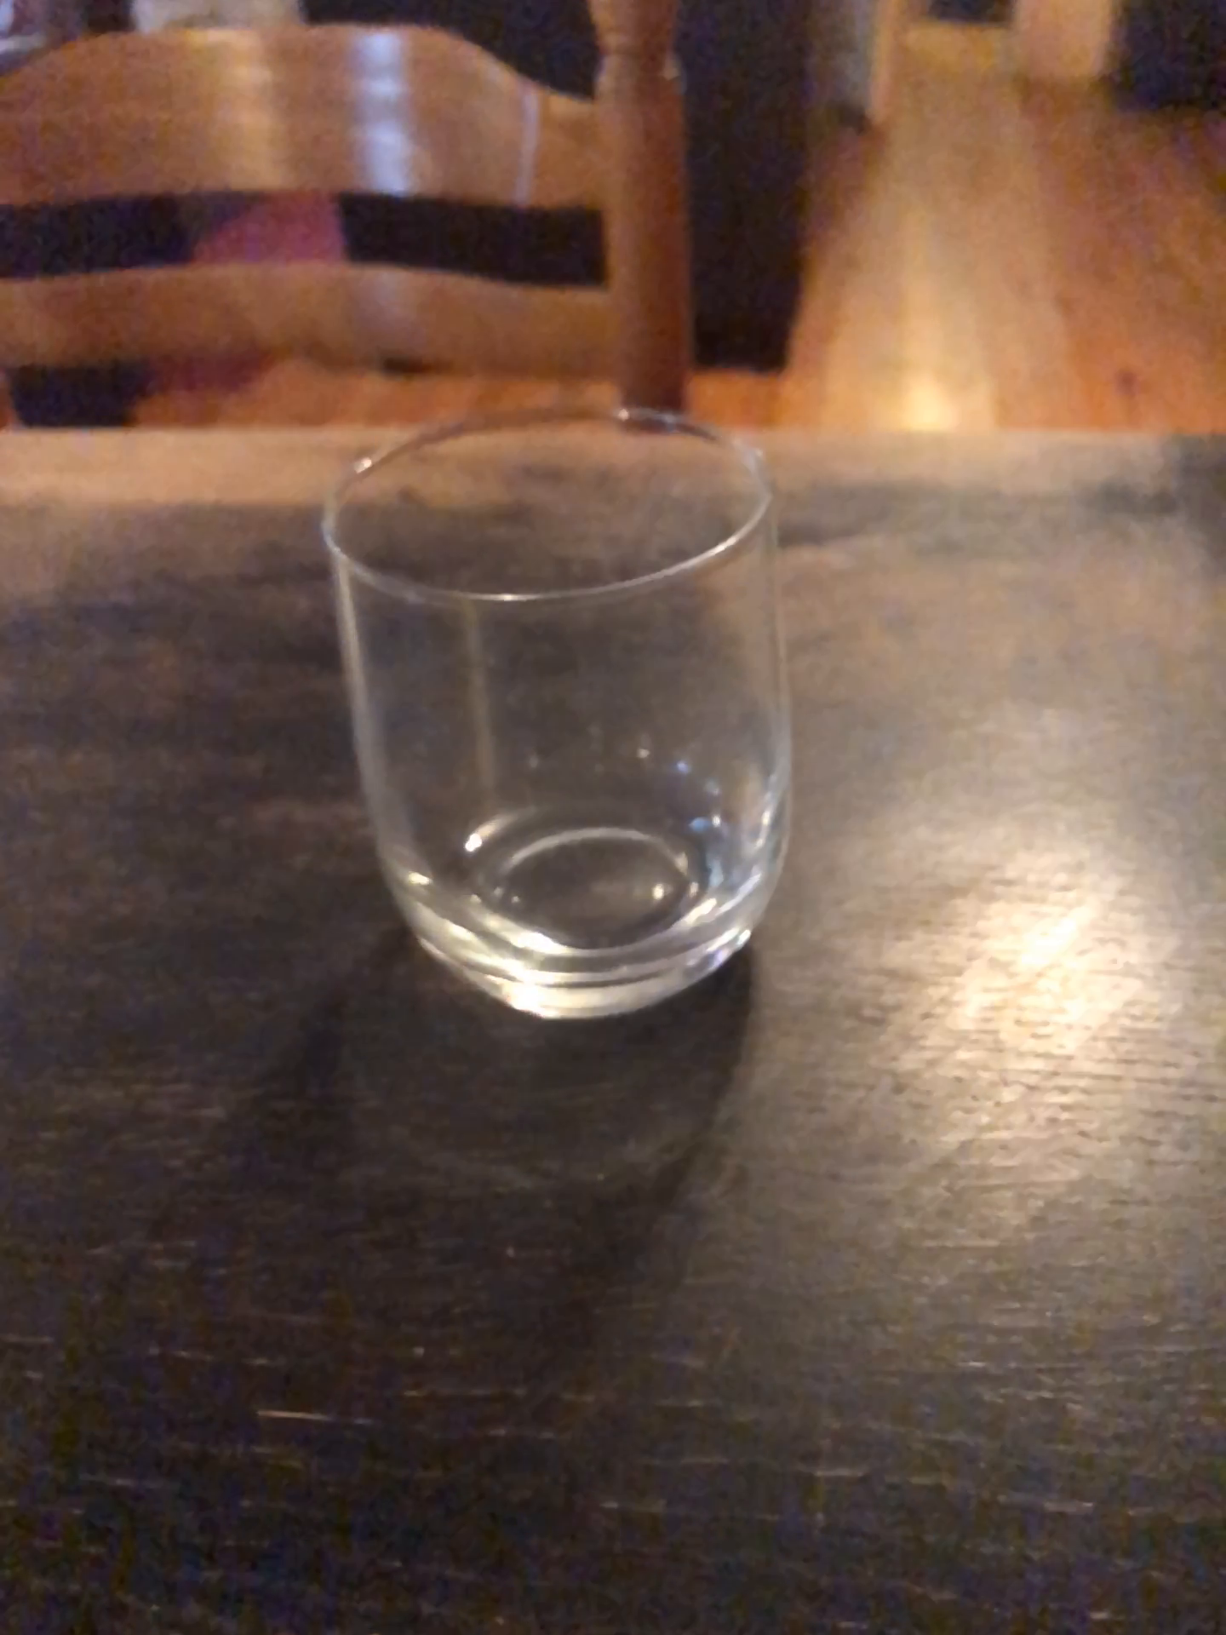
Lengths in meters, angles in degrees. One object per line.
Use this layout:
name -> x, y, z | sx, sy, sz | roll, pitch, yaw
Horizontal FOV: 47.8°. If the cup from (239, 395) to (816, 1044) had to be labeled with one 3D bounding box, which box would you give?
cup -> -0.008, -0.017, 0.237 | 0.077, 0.084, 0.071 | -3, 37, 2
